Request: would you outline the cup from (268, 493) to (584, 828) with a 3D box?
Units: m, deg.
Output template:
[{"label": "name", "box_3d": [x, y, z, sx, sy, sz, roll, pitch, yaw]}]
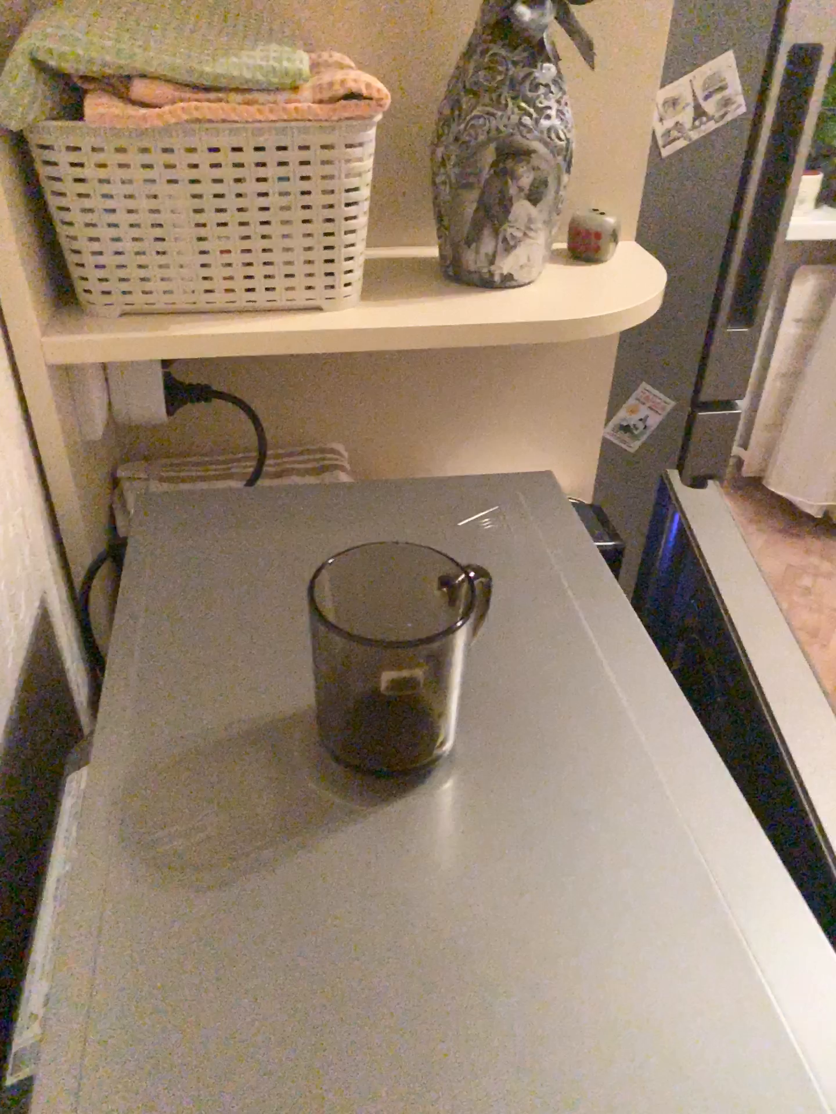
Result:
[{"label": "cup", "box_3d": [0.004, 0.040, 0.384, 0.080, 0.079, 0.111, 31, 44, 34]}]
